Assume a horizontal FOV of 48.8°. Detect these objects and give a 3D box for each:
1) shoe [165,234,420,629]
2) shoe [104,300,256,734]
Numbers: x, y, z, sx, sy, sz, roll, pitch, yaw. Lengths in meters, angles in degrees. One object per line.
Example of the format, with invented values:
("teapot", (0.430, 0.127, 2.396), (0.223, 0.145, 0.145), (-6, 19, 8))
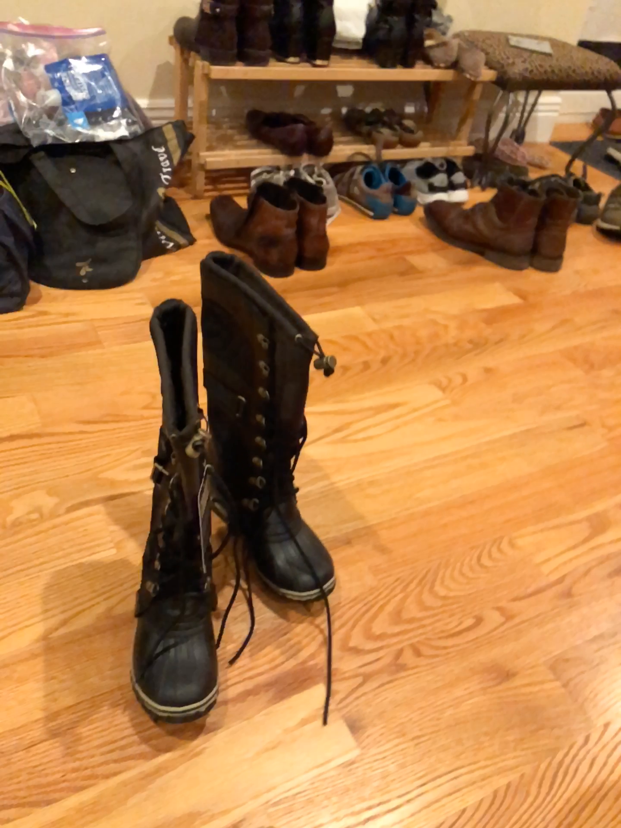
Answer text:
("shoe", (-0.047, 0.020, 0.745), (0.100, 0.328, 0.261), (-23, 49, -34))
("shoe", (-0.135, 0.094, 0.650), (0.100, 0.308, 0.261), (-2, 40, -15))
